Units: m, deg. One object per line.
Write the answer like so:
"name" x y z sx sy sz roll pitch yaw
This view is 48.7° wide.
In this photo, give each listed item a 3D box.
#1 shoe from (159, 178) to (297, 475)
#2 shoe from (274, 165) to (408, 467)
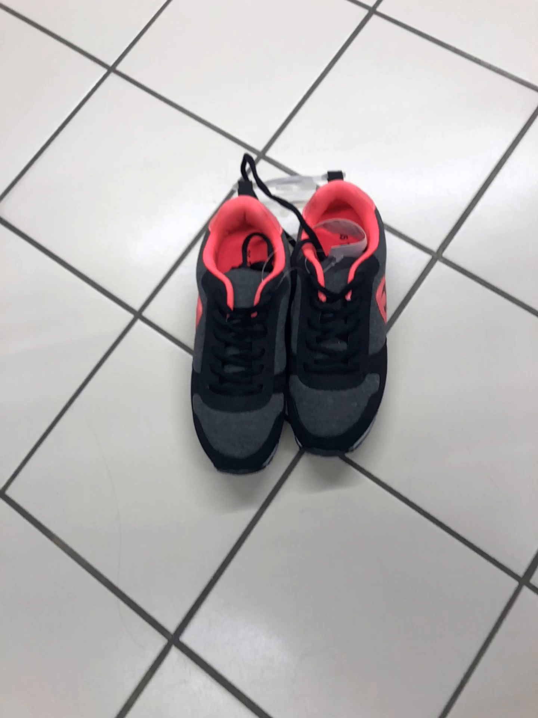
"shoe" -0.025 -0.021 0.487 0.090 0.100 0.220 -1 75 6
"shoe" 0.057 -0.030 0.480 0.090 0.100 0.220 0 75 6
